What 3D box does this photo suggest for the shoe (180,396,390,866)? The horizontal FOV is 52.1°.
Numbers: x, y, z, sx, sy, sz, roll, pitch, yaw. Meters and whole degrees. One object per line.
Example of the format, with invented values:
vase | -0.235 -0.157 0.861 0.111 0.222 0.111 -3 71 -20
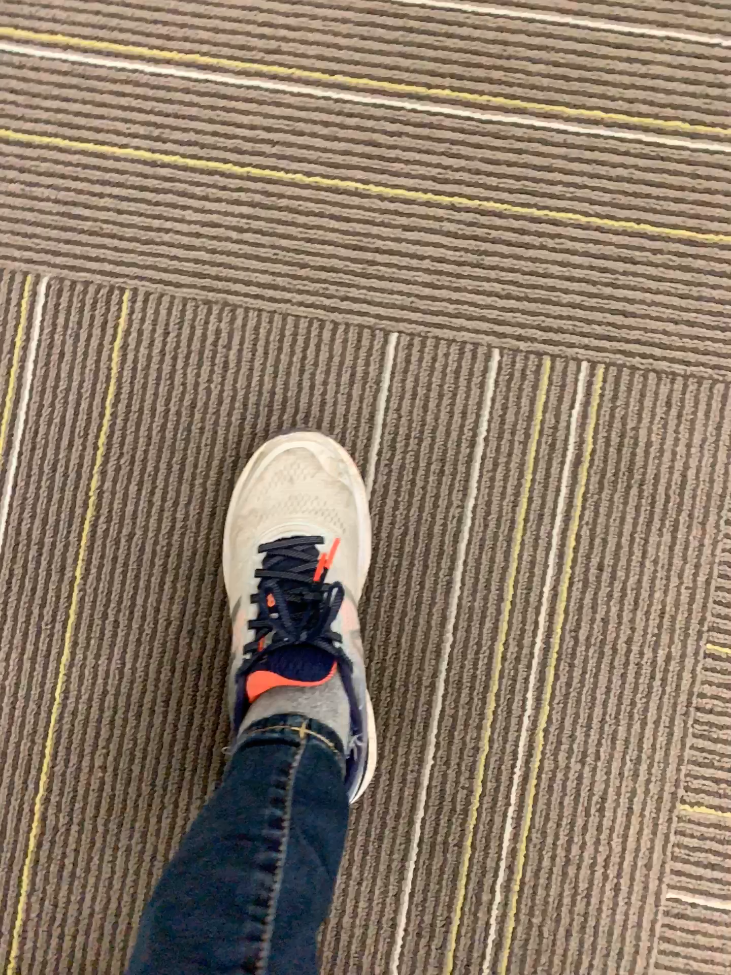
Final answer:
shoe | -0.046 0.085 0.482 0.110 0.090 0.270 -3 89 3
